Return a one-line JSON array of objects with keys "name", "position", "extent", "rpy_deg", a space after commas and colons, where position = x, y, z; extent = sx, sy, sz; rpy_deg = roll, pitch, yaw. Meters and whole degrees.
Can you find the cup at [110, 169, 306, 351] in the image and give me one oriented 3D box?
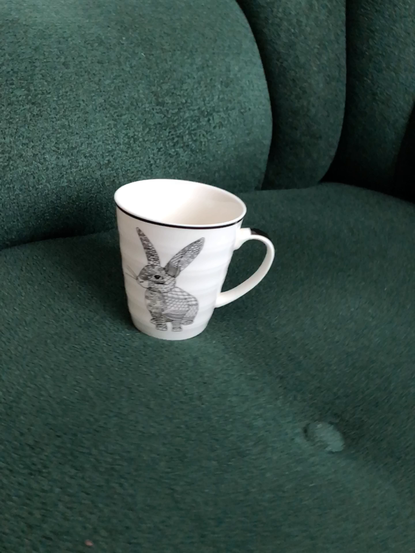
[{"name": "cup", "position": [-0.007, -0.014, 0.344], "extent": [0.120, 0.095, 0.096], "rpy_deg": [3, 31, -7]}]
